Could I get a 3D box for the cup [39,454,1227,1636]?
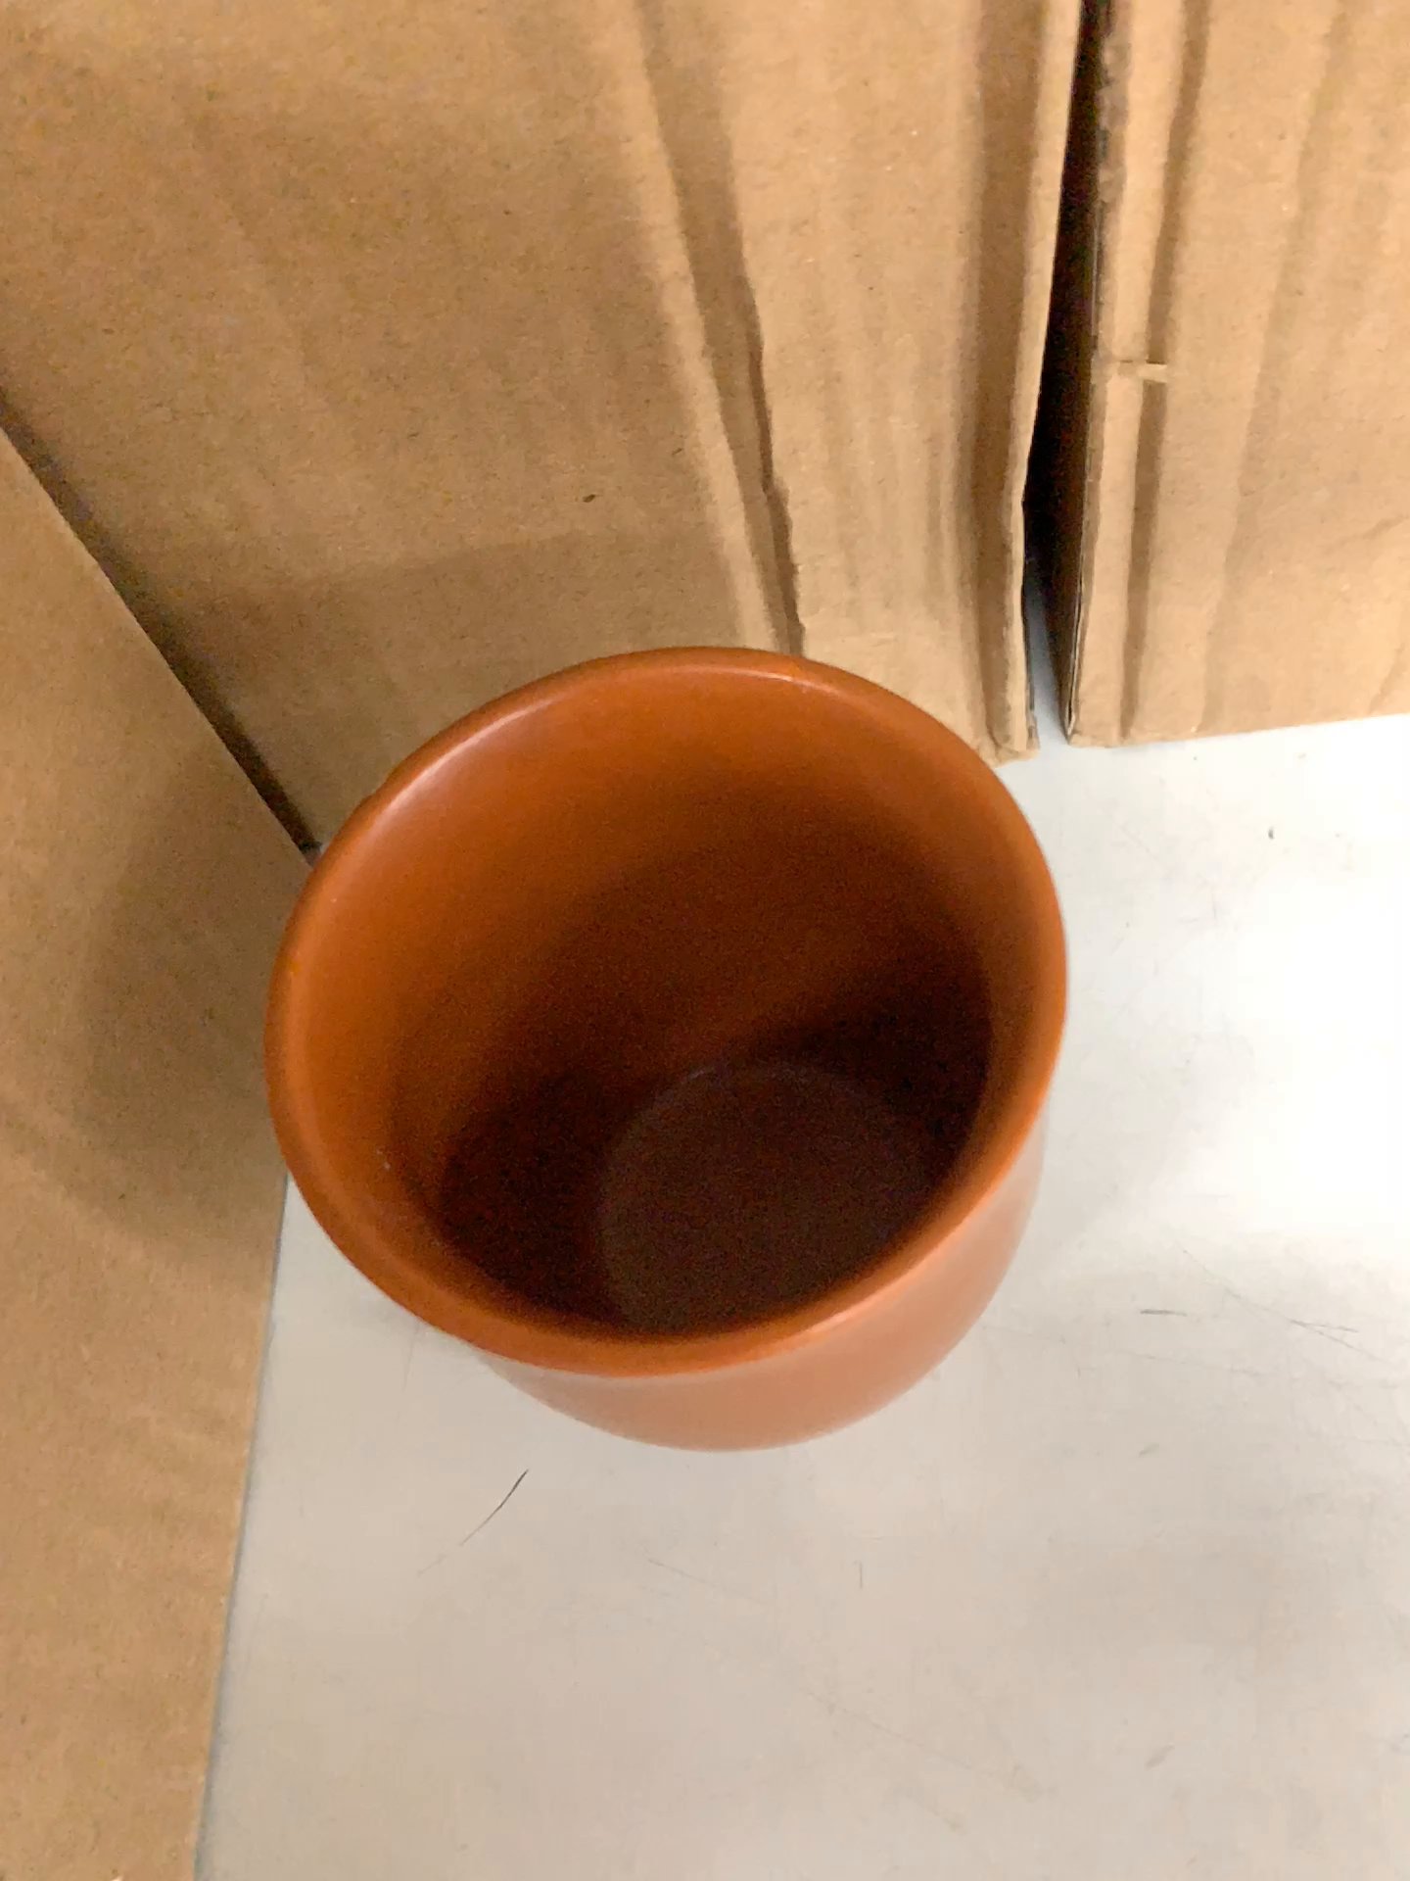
[{"bbox_3d":[-0.004,0.016,0.153,0.070,0.080,0.070,-5,62,9],"label":"cup"}]
